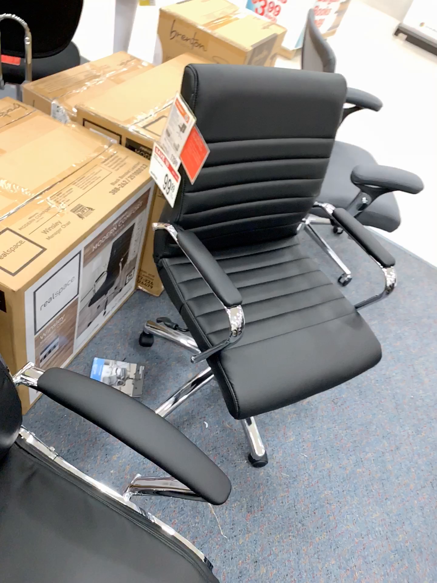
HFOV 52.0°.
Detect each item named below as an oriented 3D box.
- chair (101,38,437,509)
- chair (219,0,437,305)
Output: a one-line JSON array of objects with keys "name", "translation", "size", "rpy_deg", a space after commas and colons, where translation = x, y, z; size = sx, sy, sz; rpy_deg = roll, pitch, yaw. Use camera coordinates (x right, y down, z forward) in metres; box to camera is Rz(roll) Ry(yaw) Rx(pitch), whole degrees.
[{"name": "chair", "translation": [0.144, -0.009, 1.219], "size": [0.656, 0.953, 0.651], "rpy_deg": [-12, 55, -29]}, {"name": "chair", "translation": [0.469, -0.556, 1.900], "size": [0.719, 0.873, 0.738], "rpy_deg": [10, 47, -12]}]
